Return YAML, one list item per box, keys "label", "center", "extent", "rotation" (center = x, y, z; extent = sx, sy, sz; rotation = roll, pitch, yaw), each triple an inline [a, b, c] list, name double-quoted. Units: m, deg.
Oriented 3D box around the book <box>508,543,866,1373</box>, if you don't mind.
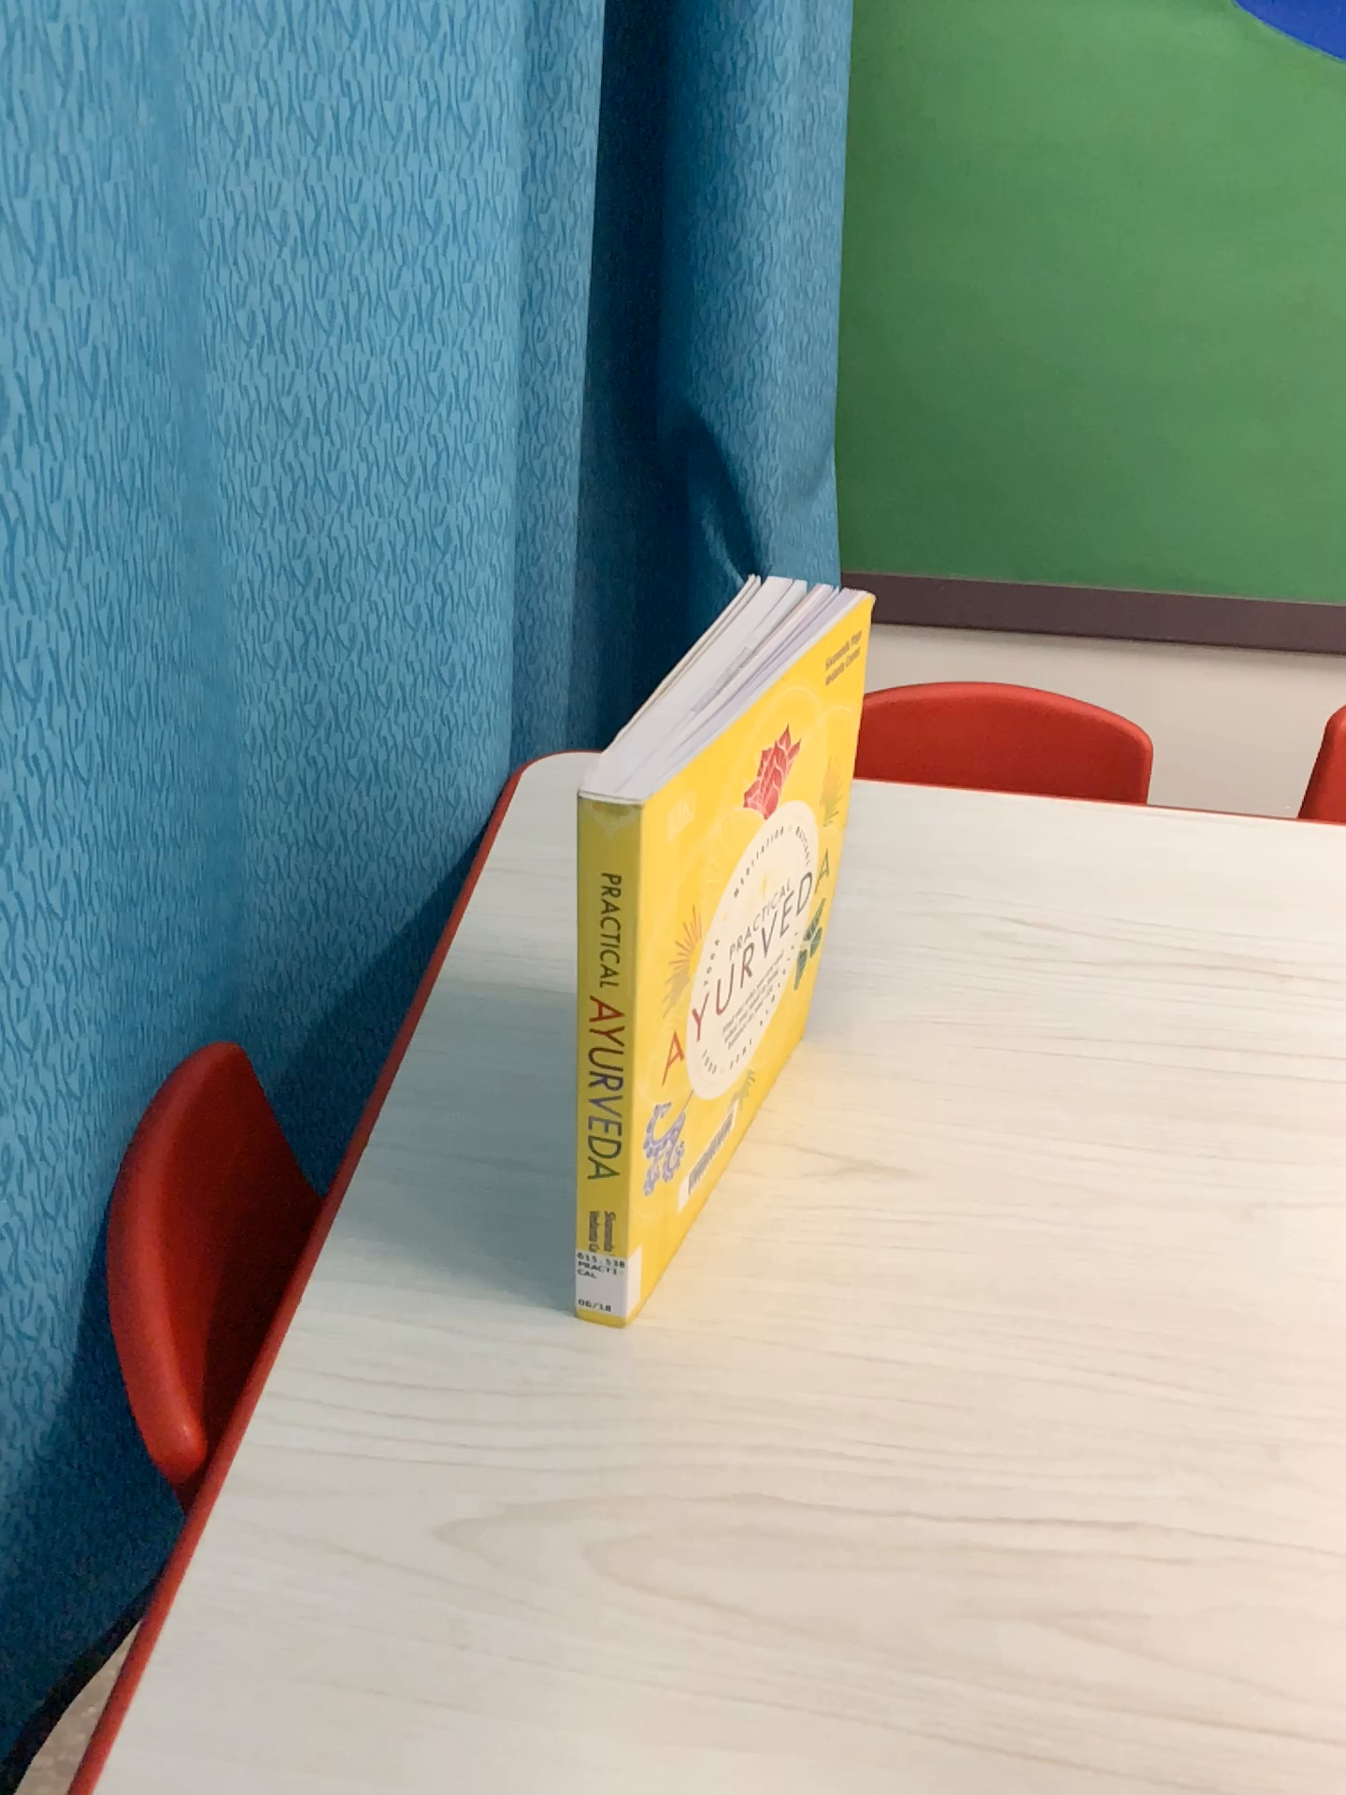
- label: "book"
  center: [0.009, 0.019, 0.555]
  extent: [0.050, 0.259, 0.211]
  rotation: [15, 35, 17]
